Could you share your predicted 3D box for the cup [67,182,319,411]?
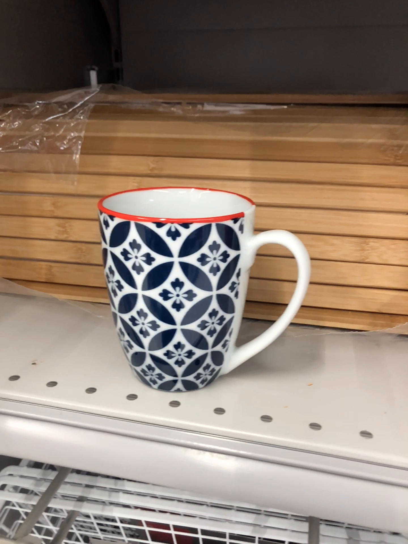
[{"bbox_3d":[0.001,0.005,0.251,0.113,0.090,0.080,5,22,13],"label":"cup"}]
